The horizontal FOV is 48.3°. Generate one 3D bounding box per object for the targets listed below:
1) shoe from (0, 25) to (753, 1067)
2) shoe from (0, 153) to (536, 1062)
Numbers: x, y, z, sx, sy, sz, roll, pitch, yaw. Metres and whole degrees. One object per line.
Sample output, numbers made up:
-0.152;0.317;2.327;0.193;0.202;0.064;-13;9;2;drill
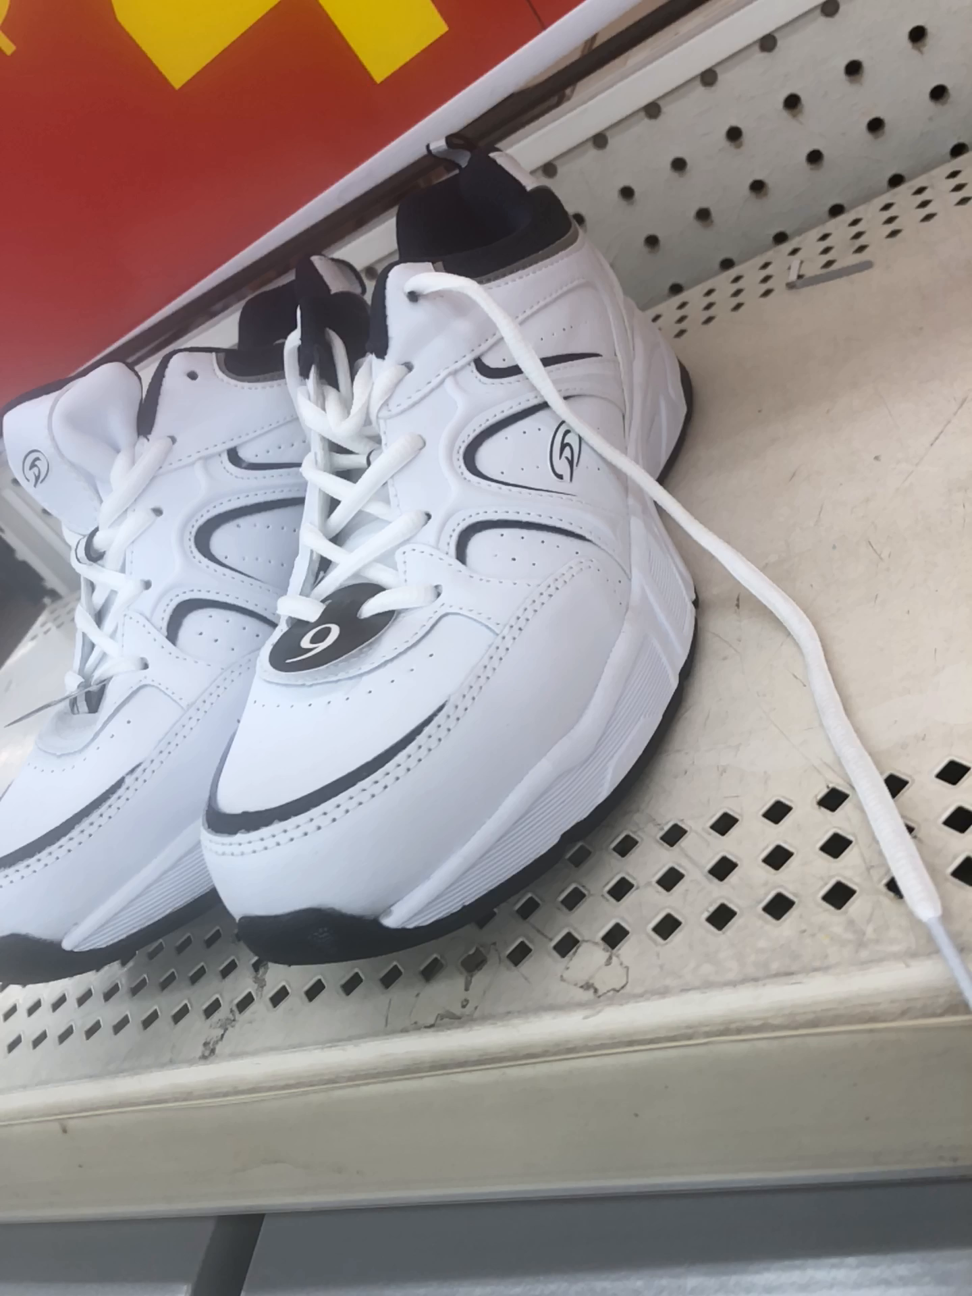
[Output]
-0.012;-0.042;0.294;0.110;0.119;0.260;-16;37;31;shoe
-0.093;-0.024;0.345;0.110;0.119;0.260;-13;39;34;shoe
